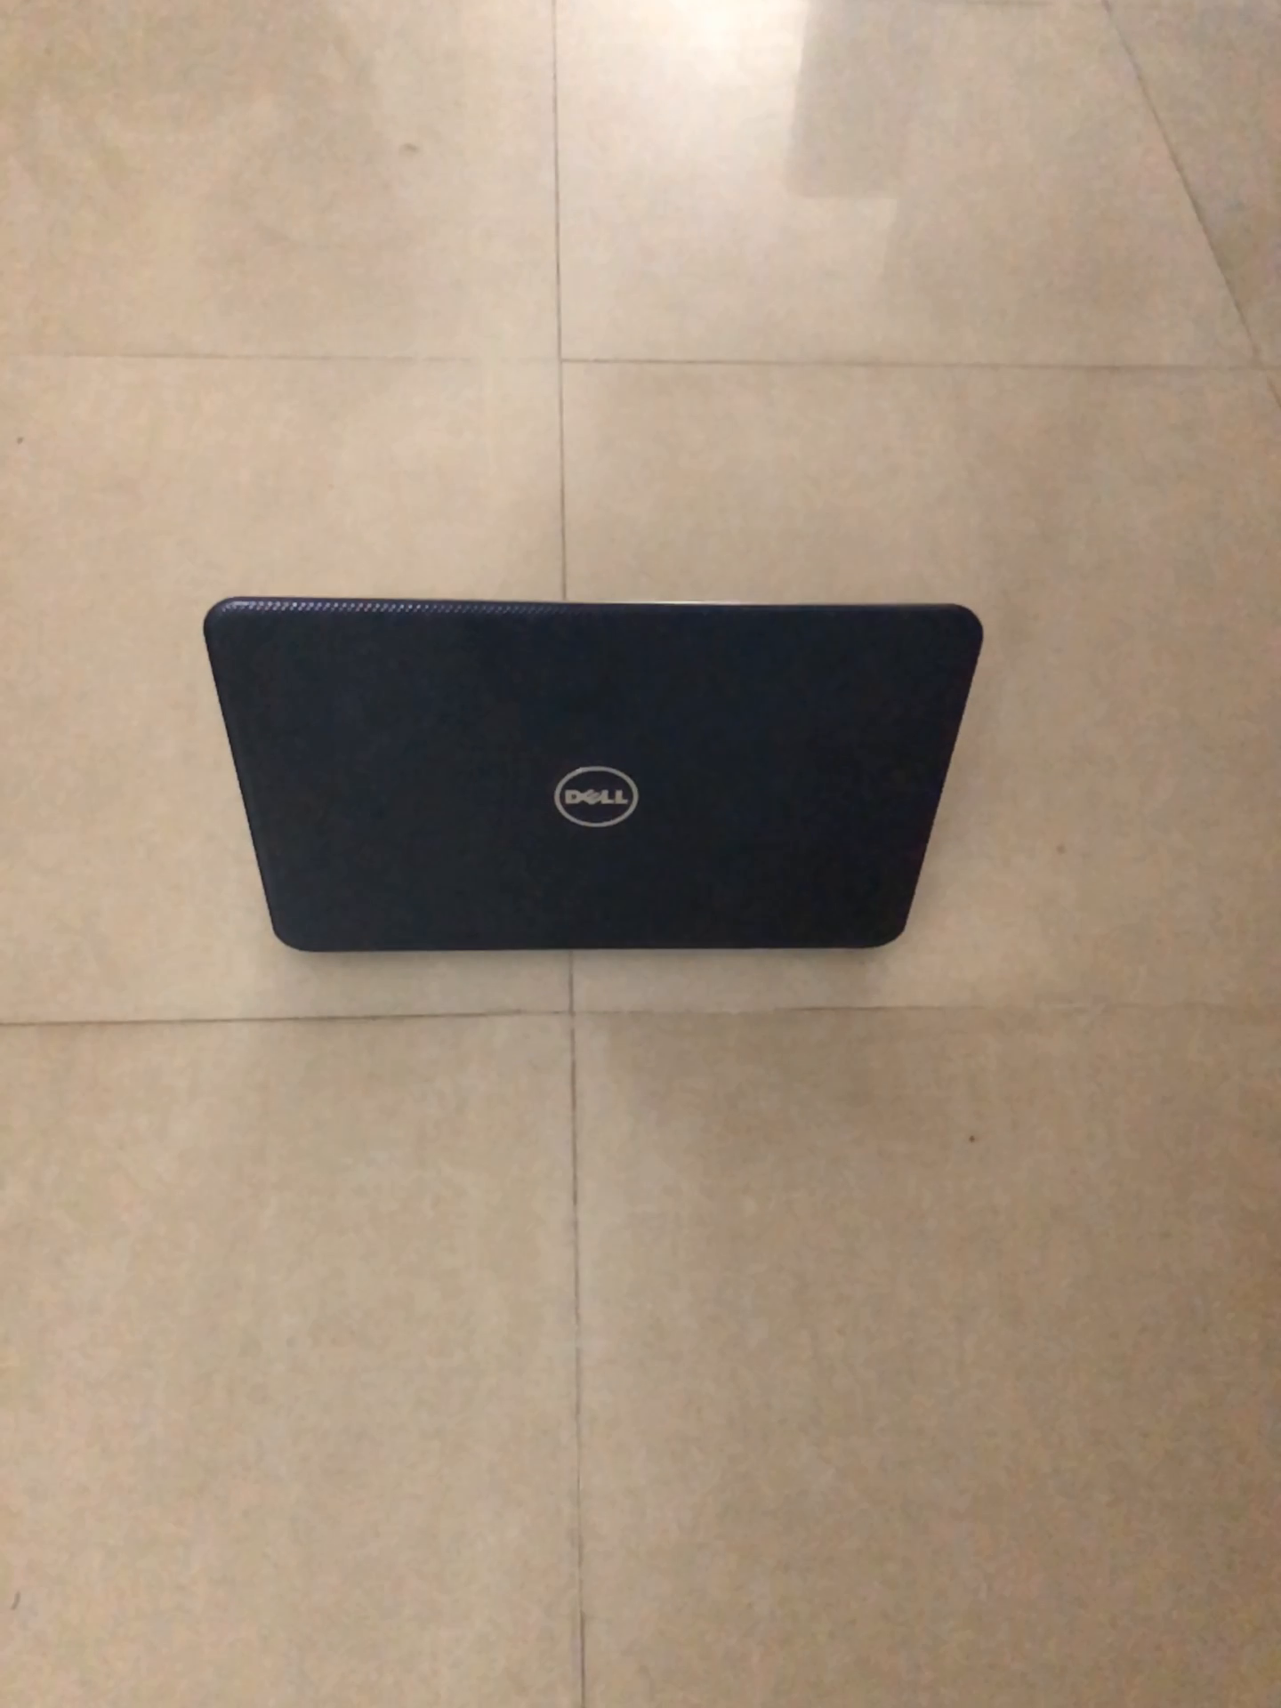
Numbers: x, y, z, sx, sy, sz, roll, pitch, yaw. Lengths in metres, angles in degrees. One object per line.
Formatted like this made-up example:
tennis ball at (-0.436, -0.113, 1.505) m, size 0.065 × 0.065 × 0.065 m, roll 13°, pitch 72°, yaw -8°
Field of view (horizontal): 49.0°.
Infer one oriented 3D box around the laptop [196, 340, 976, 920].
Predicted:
laptop at (-0.030, -0.124, 0.804) m, size 0.351 × 0.227 × 0.249 m, roll 0°, pitch 55°, yaw -3°
